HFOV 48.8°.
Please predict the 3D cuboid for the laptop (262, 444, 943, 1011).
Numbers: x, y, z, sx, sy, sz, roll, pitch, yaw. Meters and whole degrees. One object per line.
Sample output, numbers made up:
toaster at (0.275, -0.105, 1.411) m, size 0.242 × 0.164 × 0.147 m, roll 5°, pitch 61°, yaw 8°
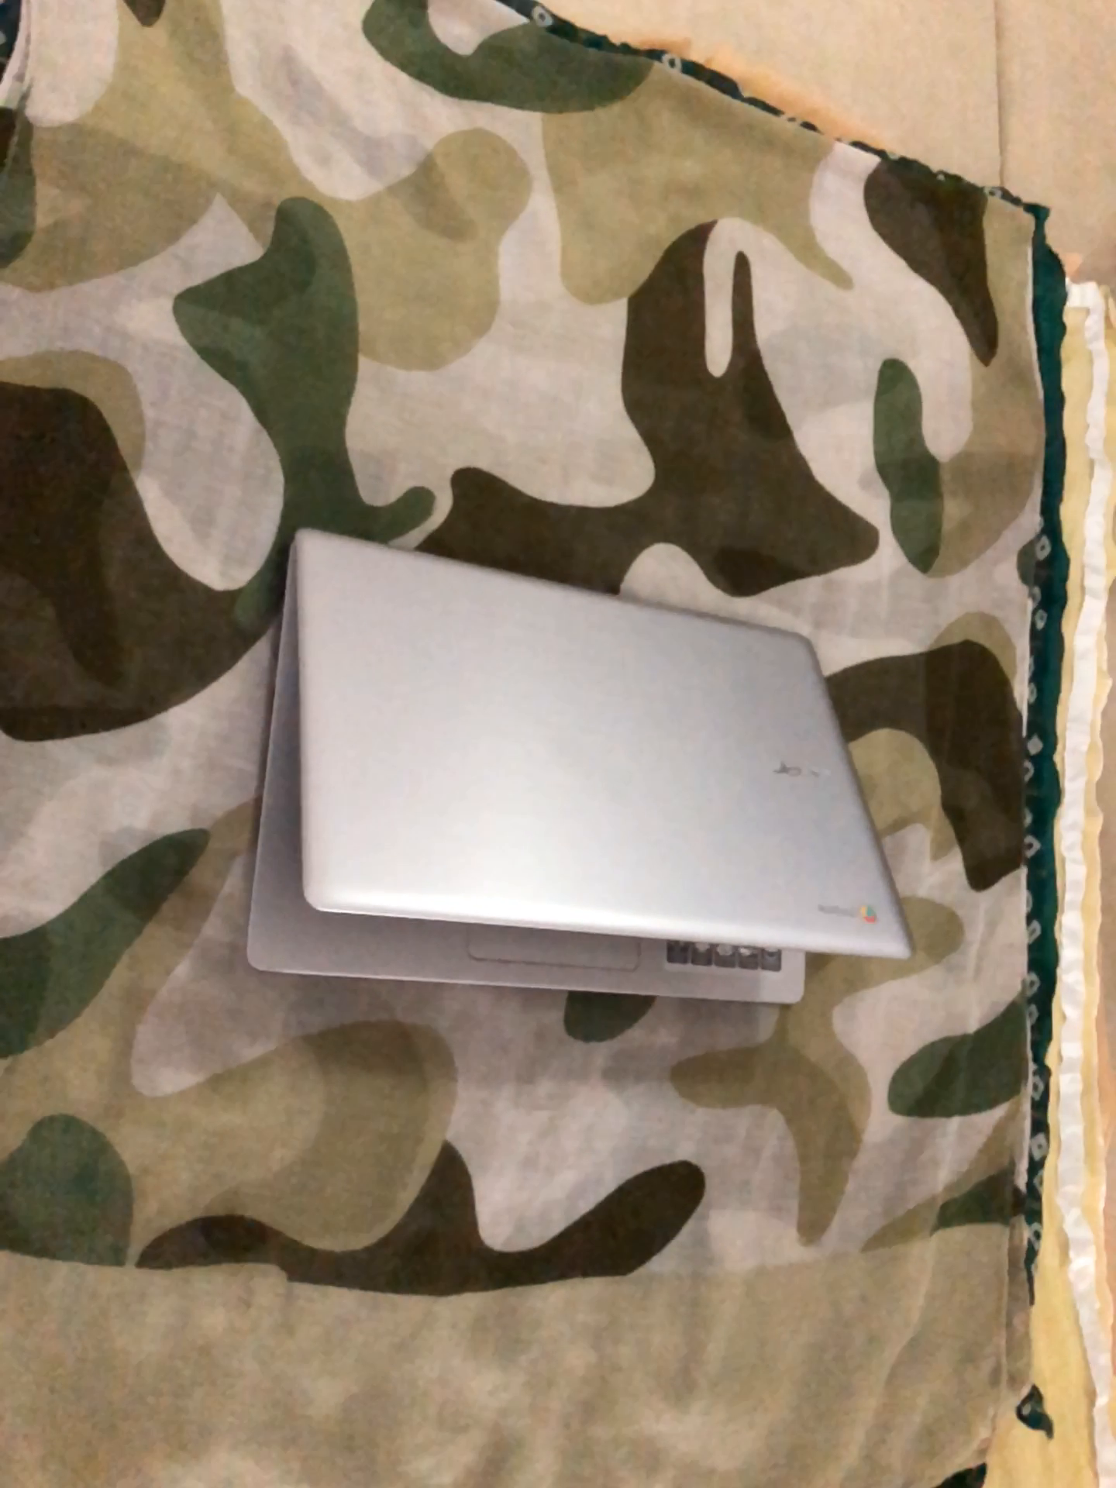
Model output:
laptop at (0.025, 0.009, 0.641) m, size 0.311 × 0.125 × 0.233 m, roll 9°, pitch 71°, yaw -25°
